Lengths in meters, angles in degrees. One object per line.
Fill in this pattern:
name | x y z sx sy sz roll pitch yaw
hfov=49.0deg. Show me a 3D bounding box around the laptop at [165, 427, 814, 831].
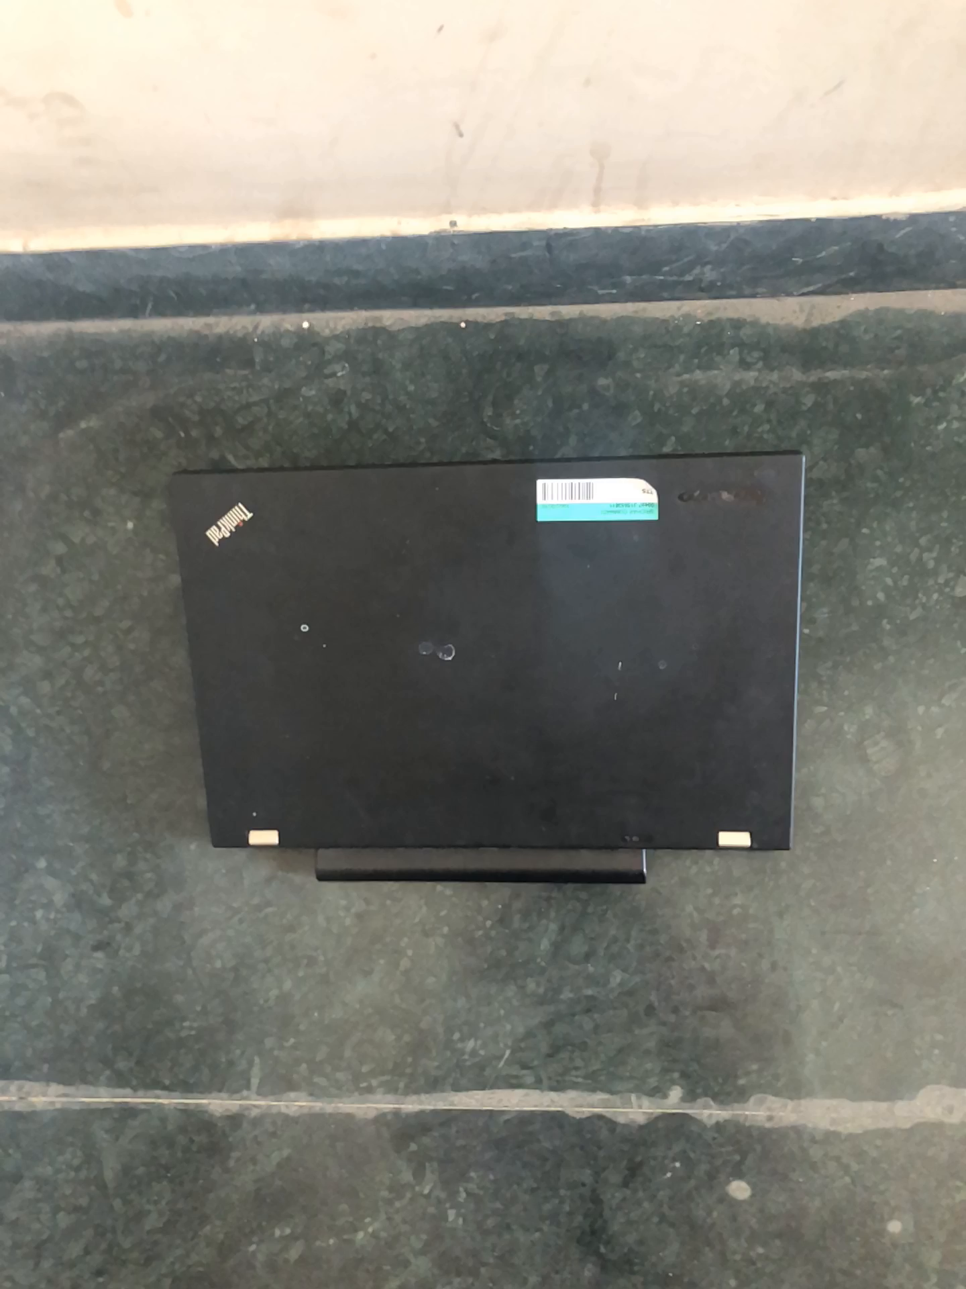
laptop | 0.006 -0.003 0.641 0.349 0.095 0.227 -1 77 4
